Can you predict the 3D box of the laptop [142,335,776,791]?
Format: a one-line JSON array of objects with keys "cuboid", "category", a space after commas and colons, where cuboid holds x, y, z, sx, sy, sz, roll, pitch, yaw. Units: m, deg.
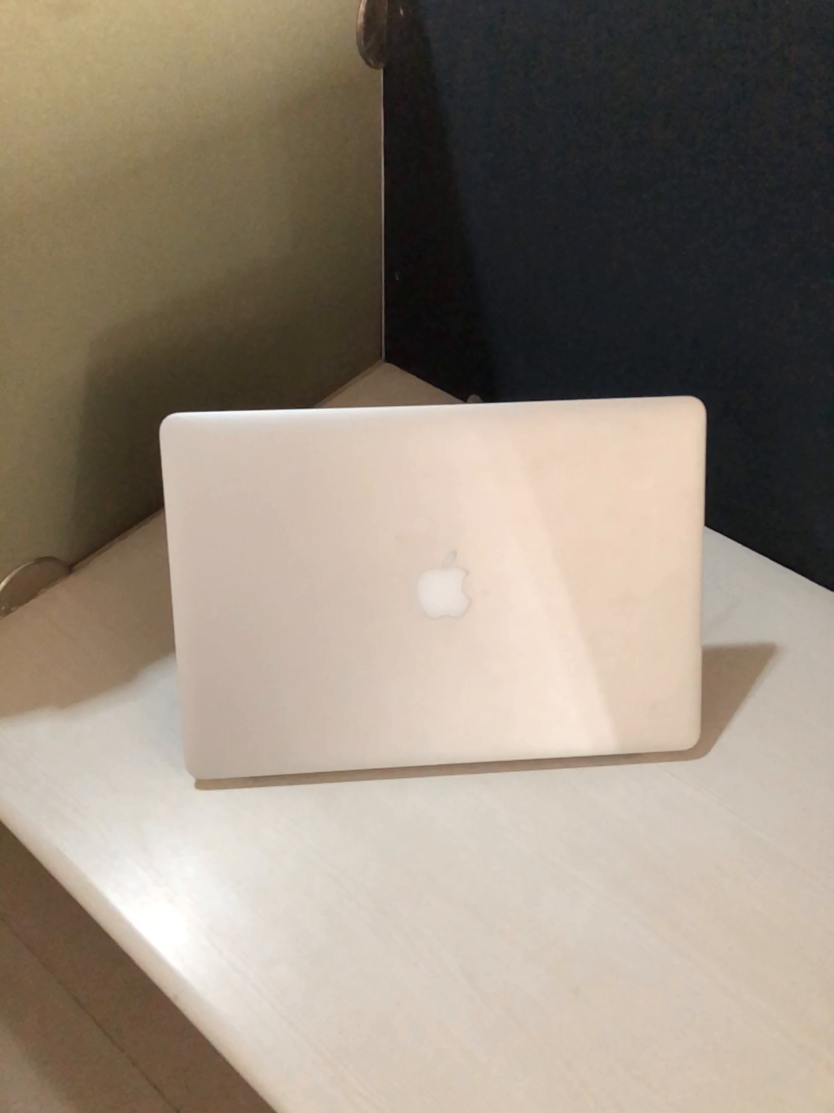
[{"cuboid": [0.015, -0.001, 0.642, 0.343, 0.198, 0.236, -2, 47, -5], "category": "laptop"}]
